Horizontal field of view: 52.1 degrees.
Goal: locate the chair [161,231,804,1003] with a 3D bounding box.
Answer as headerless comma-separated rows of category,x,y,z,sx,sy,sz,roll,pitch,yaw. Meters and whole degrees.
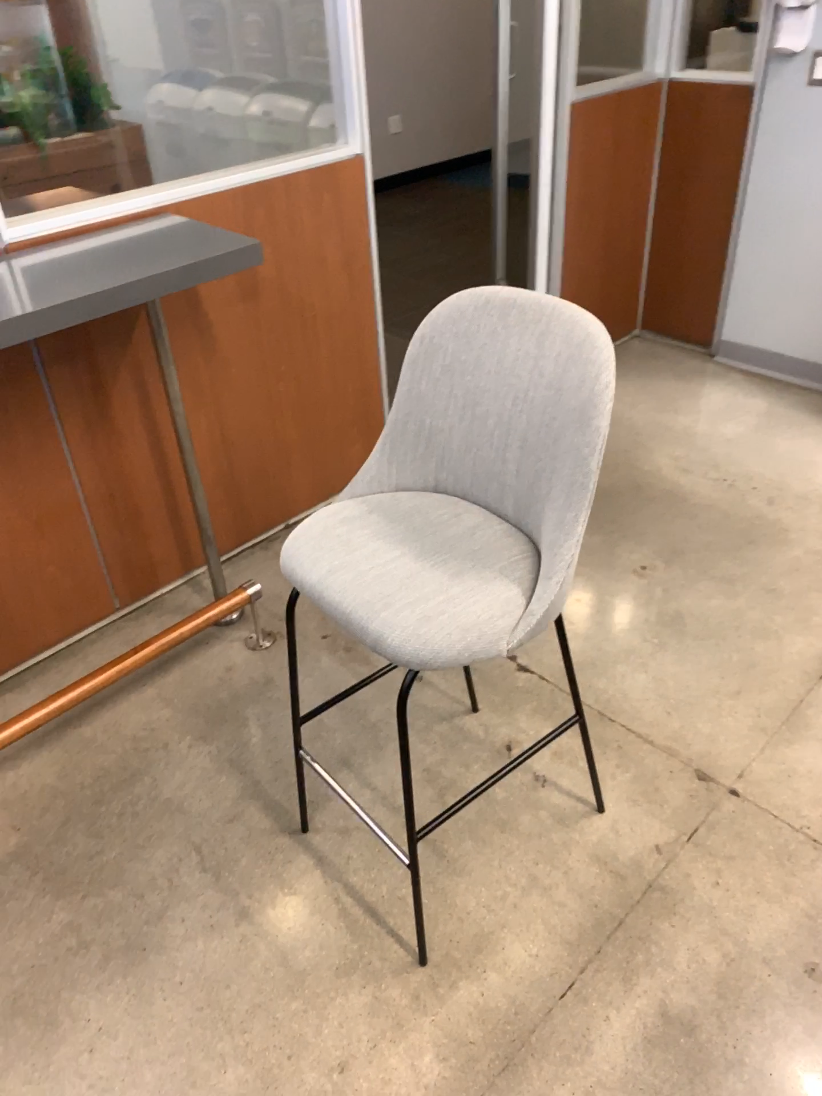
chair,0.143,0.096,1.616,0.812,1.094,0.592,-28,43,-31
